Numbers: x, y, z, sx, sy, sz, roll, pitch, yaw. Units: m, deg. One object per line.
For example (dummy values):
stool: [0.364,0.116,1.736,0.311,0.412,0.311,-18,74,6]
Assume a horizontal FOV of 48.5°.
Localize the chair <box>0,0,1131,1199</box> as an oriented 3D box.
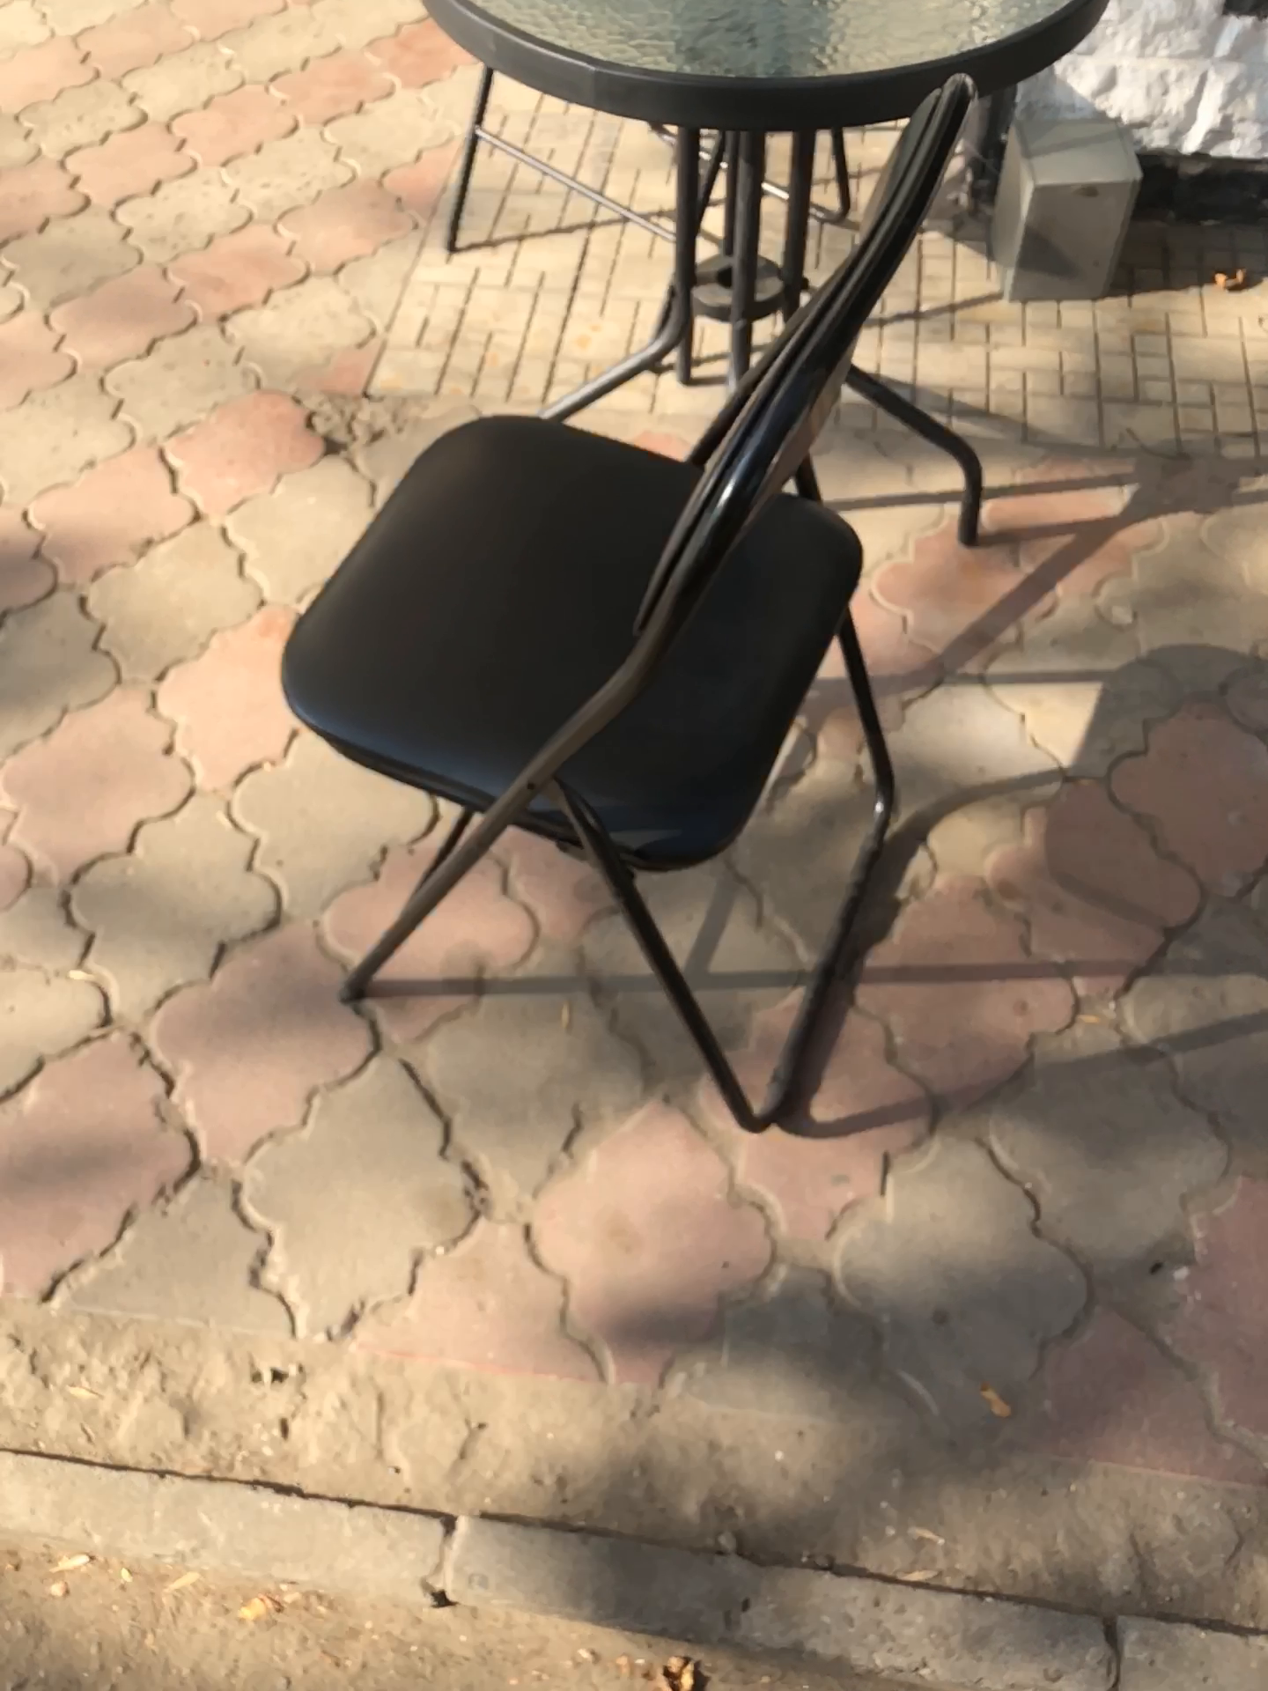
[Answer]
chair: [-0.011,-0.180,1.062,0.500,0.638,0.531,17,56,13]
